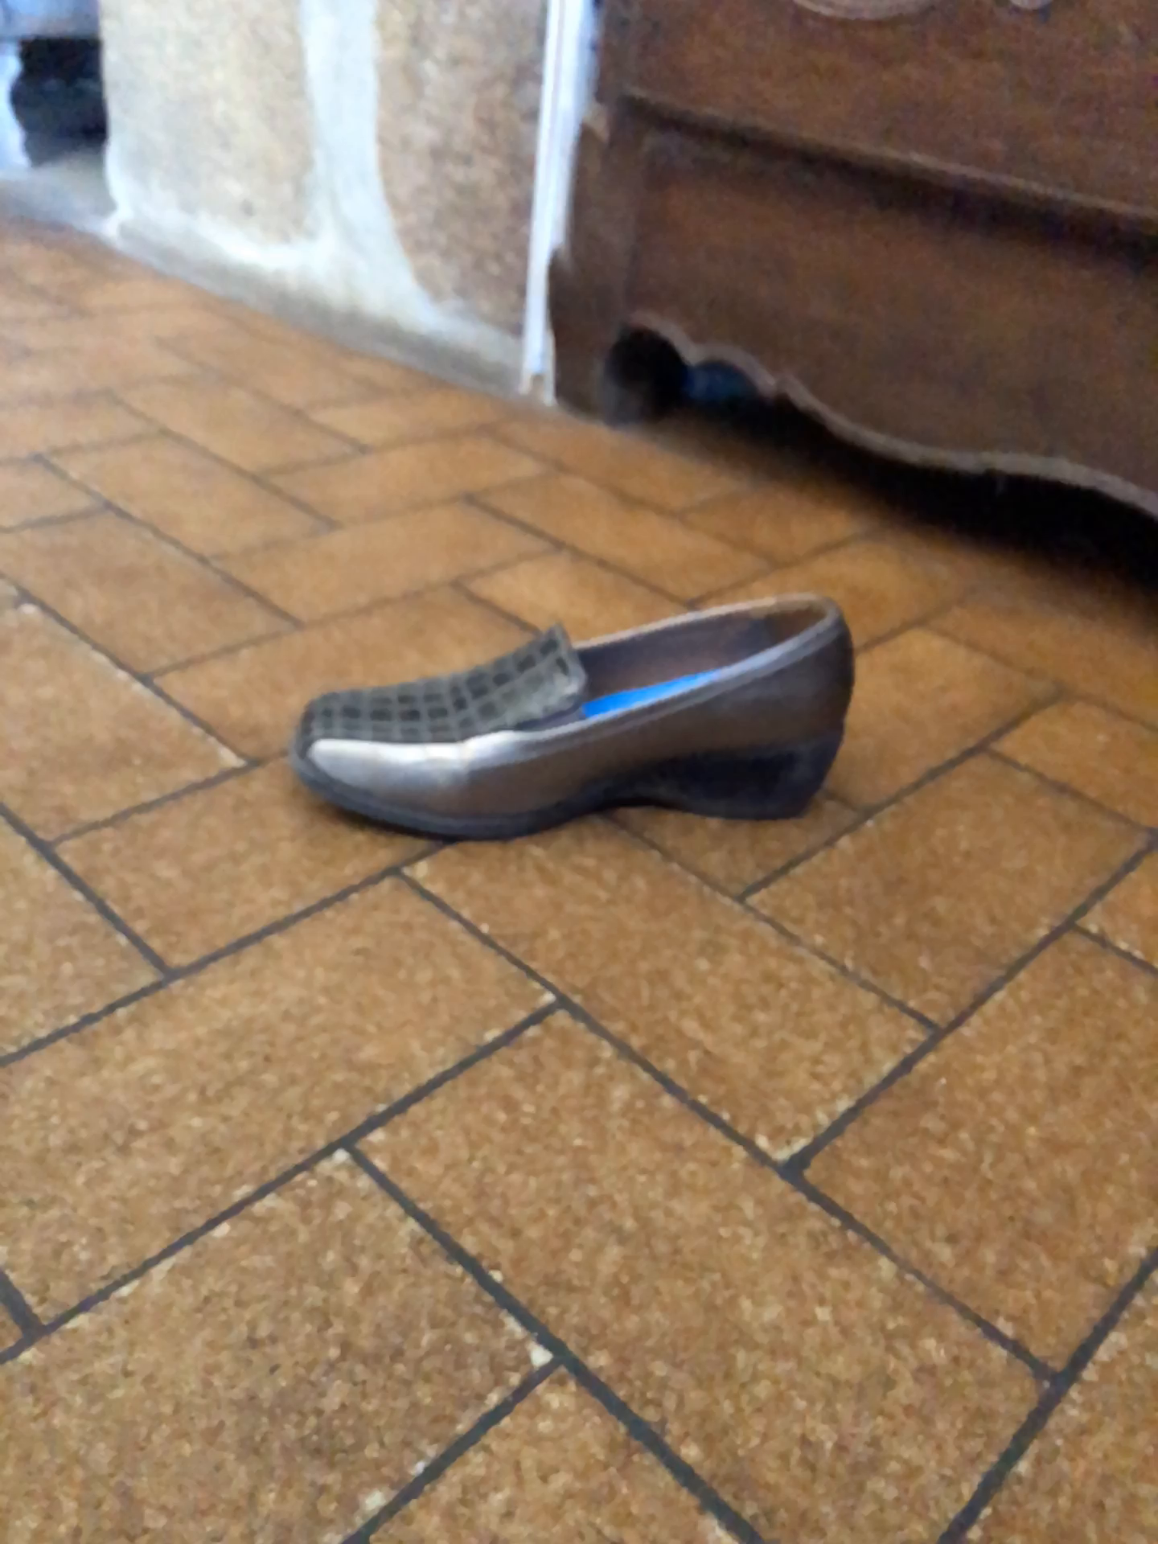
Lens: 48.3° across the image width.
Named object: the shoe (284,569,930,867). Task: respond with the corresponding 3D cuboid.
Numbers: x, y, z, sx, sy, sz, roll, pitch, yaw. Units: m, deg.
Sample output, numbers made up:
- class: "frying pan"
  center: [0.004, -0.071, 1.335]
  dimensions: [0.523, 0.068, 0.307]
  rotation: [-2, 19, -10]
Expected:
- class: "shoe"
  center: [0.005, -0.027, 0.566]
  dimensions: [0.260, 0.089, 0.090]
  rotation: [-1, 33, -13]
